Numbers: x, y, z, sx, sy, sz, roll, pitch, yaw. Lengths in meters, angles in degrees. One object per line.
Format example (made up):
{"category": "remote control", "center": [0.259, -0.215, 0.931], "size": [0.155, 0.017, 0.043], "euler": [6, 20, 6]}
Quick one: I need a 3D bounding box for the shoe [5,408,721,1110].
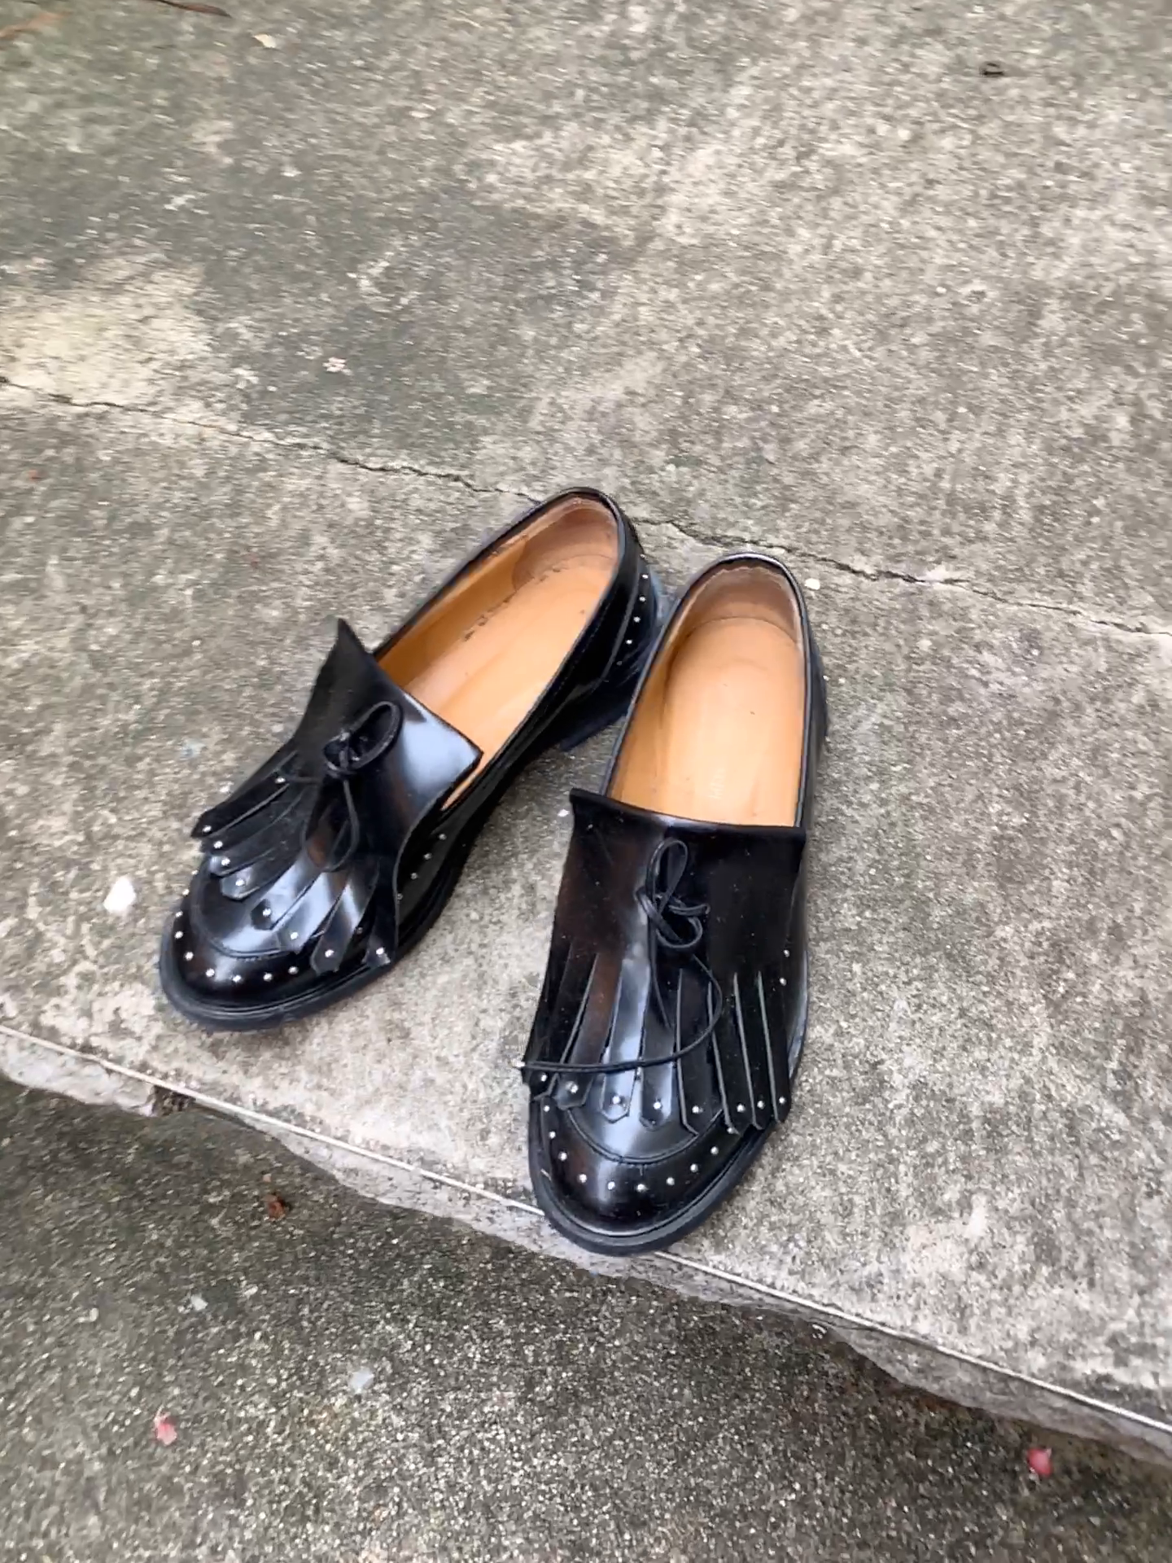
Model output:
{"category": "shoe", "center": [-0.066, -0.014, 0.437], "size": [0.094, 0.080, 0.246], "euler": [37, 71, 22]}

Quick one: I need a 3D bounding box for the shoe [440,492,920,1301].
{"category": "shoe", "center": [0.041, 0.030, 0.408], "size": [0.094, 0.080, 0.249], "euler": [13, 64, 10]}
